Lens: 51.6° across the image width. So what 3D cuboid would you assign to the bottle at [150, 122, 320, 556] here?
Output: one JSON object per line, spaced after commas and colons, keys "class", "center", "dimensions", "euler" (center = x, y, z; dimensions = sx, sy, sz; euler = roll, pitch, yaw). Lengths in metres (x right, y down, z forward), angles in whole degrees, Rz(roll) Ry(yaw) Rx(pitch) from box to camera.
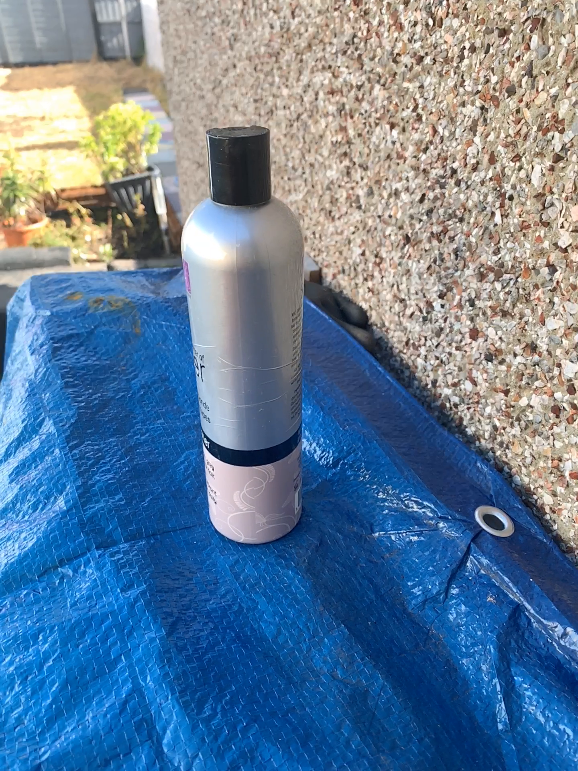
{"class": "bottle", "center": [-0.019, -0.015, 0.293], "dimensions": [0.060, 0.198, 0.071], "euler": [-3, 32, -2]}
